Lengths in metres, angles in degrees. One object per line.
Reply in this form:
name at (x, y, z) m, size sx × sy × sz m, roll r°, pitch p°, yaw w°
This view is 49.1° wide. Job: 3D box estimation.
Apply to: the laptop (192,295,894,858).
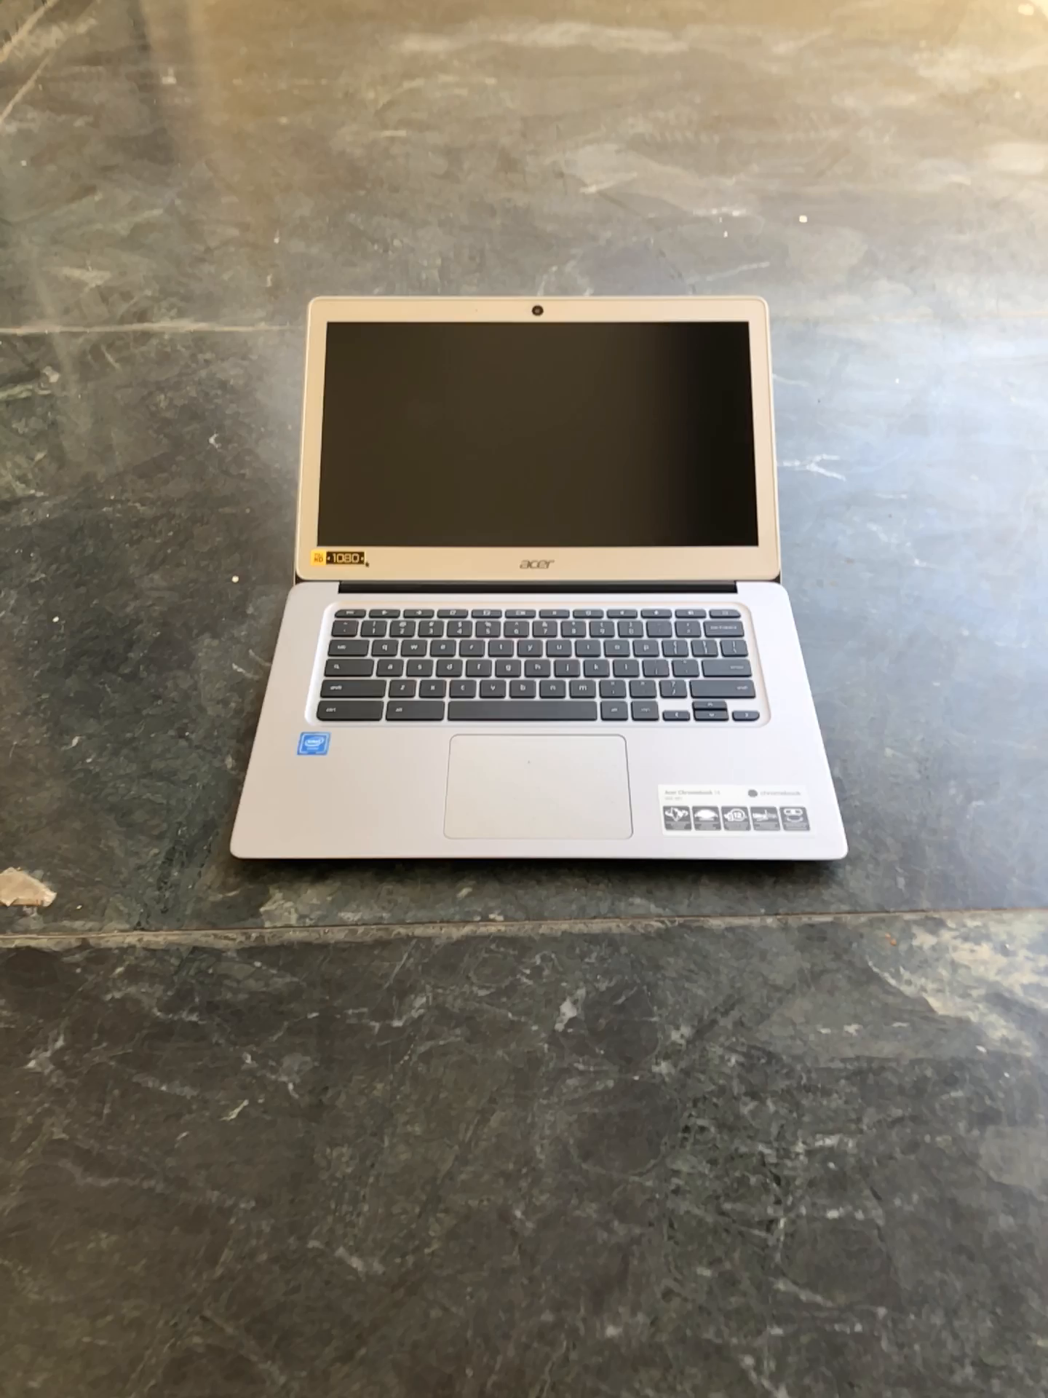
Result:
laptop at (0.010, -0.106, 0.743) m, size 0.338 × 0.117 × 0.426 m, roll 0°, pitch 45°, yaw 0°
